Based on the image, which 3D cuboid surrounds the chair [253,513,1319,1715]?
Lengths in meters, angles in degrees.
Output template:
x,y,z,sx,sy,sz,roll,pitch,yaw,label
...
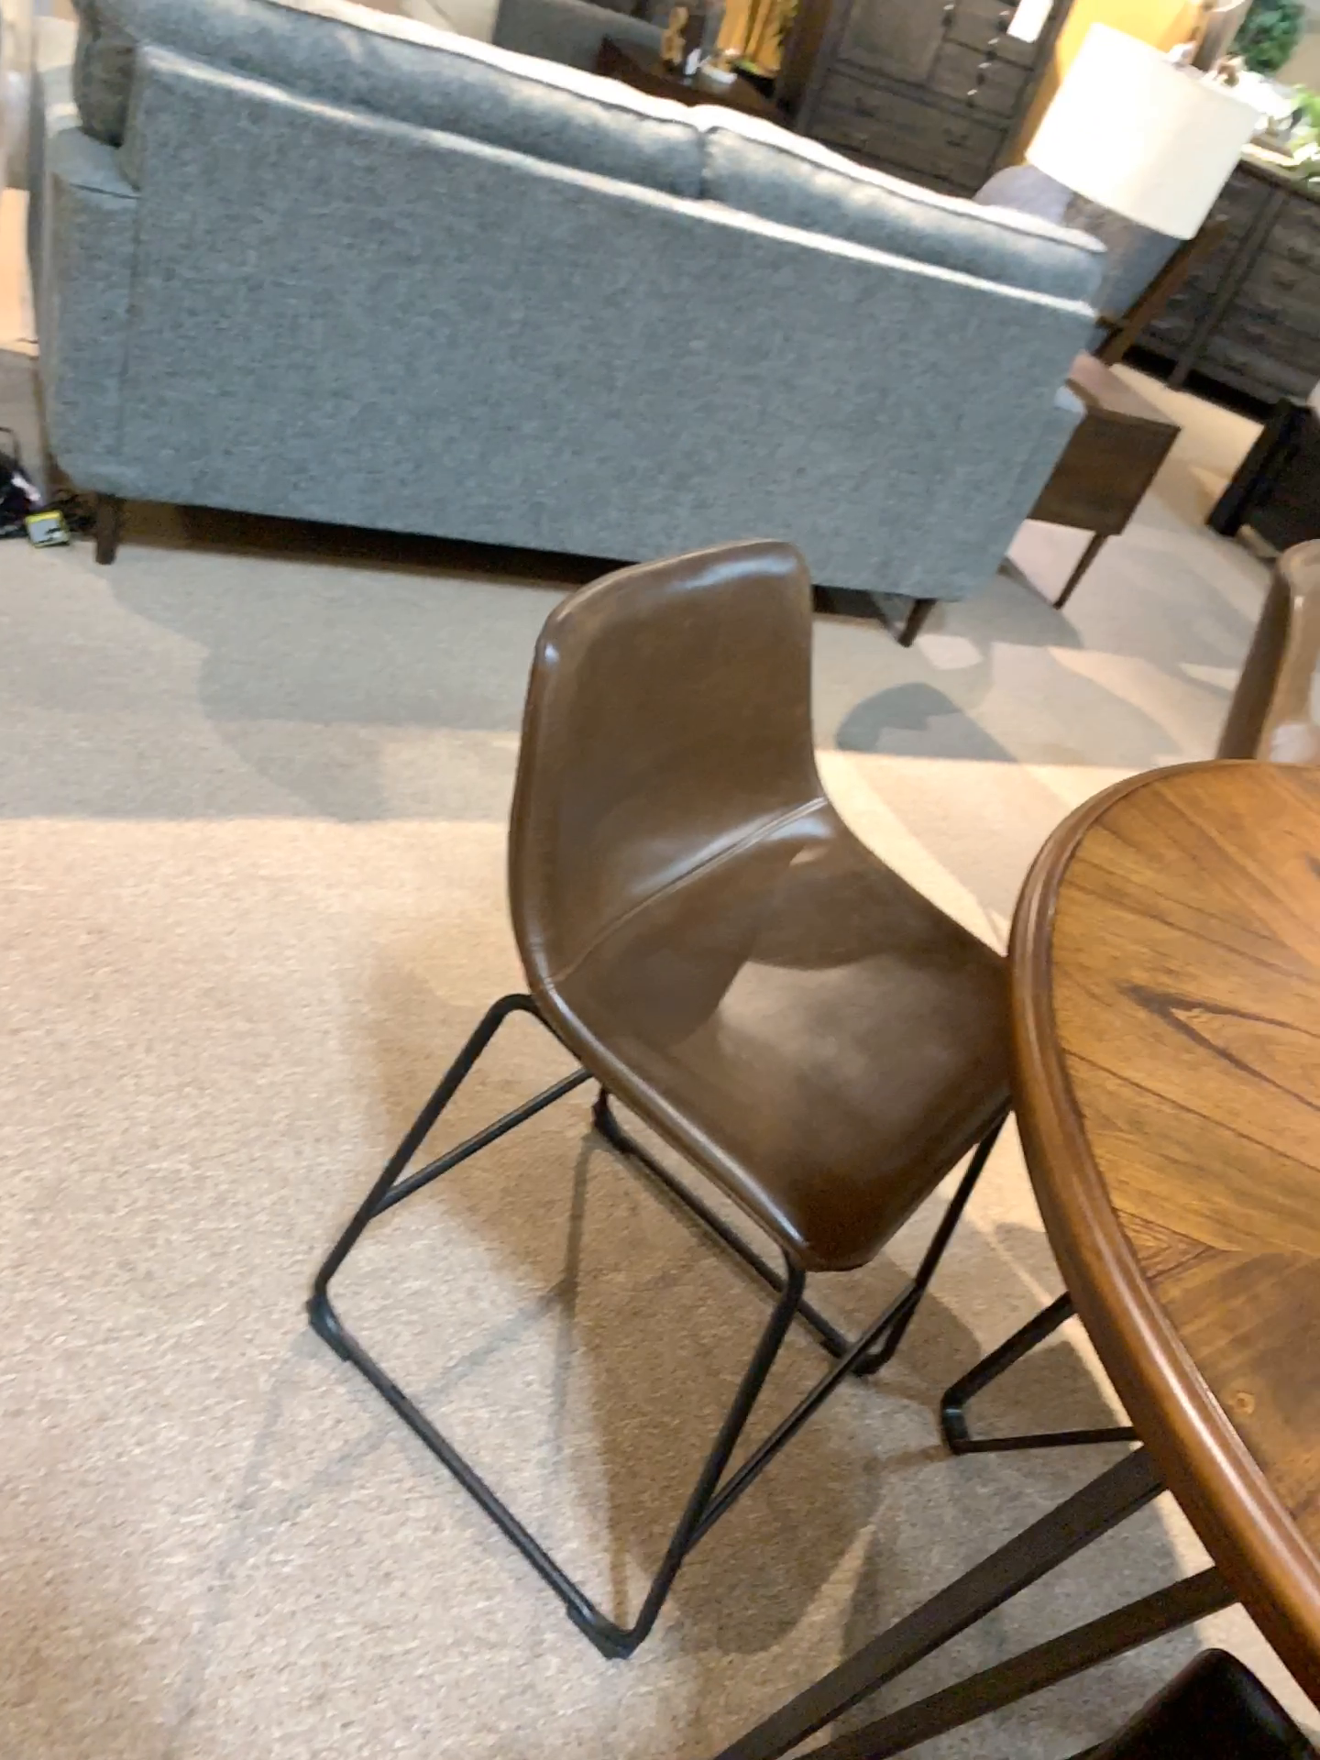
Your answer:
x,y,z,sx,sy,sz,roll,pitch,yaw,label
0.088,0.189,1.306,0.581,0.806,0.602,40,40,22,chair
